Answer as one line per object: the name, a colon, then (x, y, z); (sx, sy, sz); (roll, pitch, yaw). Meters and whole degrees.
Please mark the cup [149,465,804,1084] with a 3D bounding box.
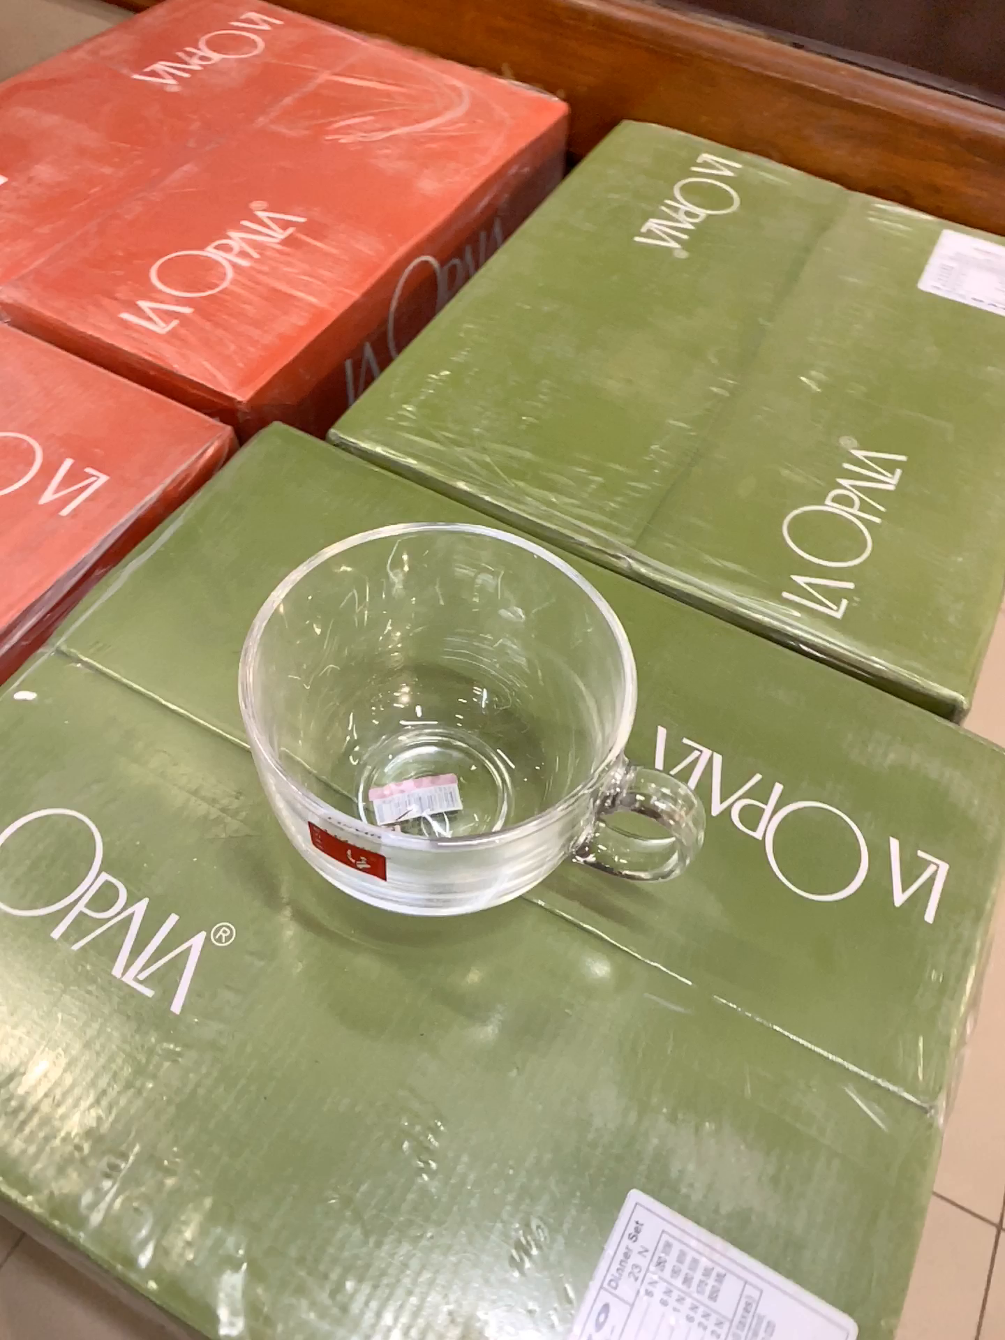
cup: (-0.004, 0.029, 0.309); (0.140, 0.090, 0.110); (22, 54, 11)
